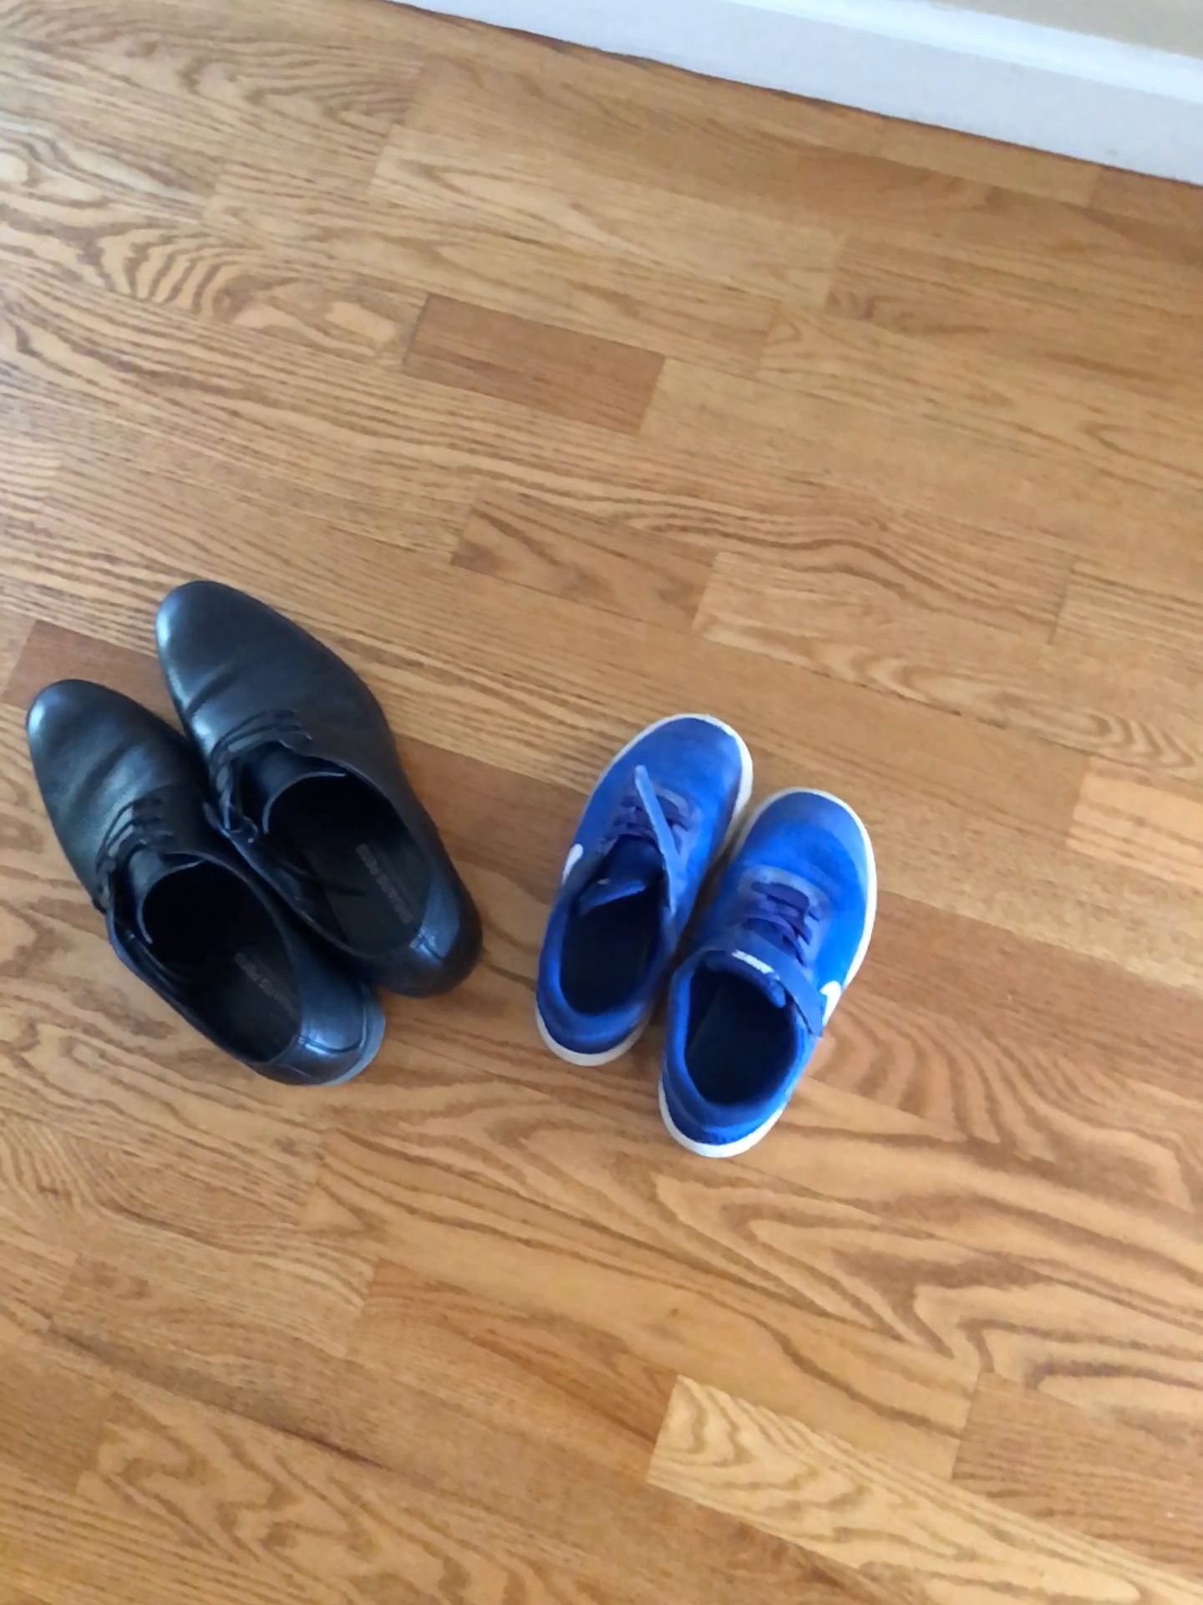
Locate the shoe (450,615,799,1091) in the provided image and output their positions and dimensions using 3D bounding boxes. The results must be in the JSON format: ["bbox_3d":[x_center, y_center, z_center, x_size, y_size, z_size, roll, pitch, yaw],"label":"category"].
[{"bbox_3d":[0.020,0.035,0.749,0.100,0.130,0.230,22,80,11],"label":"shoe"}]

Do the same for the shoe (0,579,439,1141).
[{"bbox_3d":[-0.251,0.033,0.779,0.120,0.090,0.320,-41,76,-4],"label":"shoe"}]

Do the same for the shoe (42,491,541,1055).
[{"bbox_3d":[-0.184,-0.017,0.789,0.120,0.090,0.320,-37,76,-3],"label":"shoe"}]

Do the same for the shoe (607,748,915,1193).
[{"bbox_3d":[0.092,0.094,0.750,0.100,0.070,0.220,19,80,10],"label":"shoe"}]
